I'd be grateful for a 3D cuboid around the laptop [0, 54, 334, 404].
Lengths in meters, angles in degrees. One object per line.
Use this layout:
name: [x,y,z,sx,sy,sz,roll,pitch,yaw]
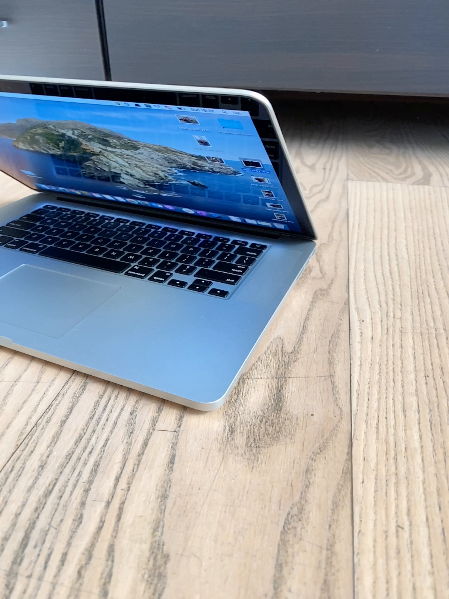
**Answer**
laptop: [-0.124,-0.101,0.389,0.362,0.157,0.236,13,35,20]
